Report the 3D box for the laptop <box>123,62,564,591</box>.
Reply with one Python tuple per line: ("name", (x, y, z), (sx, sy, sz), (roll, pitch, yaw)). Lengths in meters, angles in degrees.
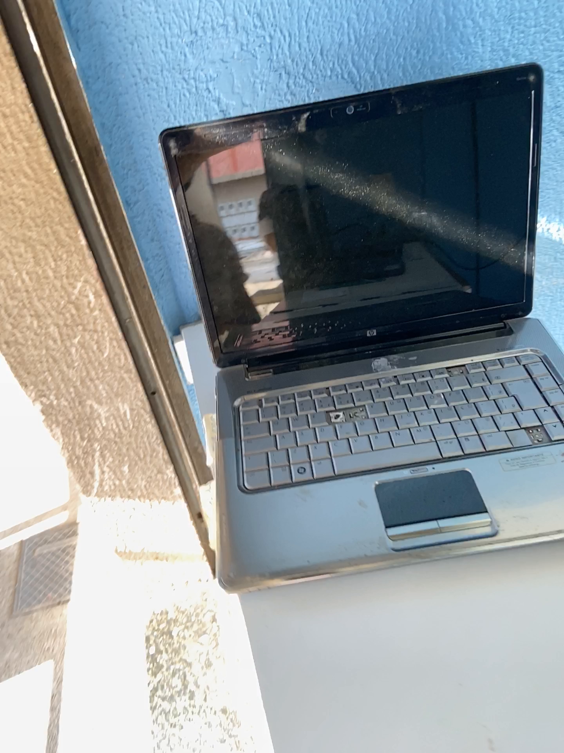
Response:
("laptop", (0.093, -0.064, 0.485), (0.351, 0.233, 0.330), (-9, 41, 1))
